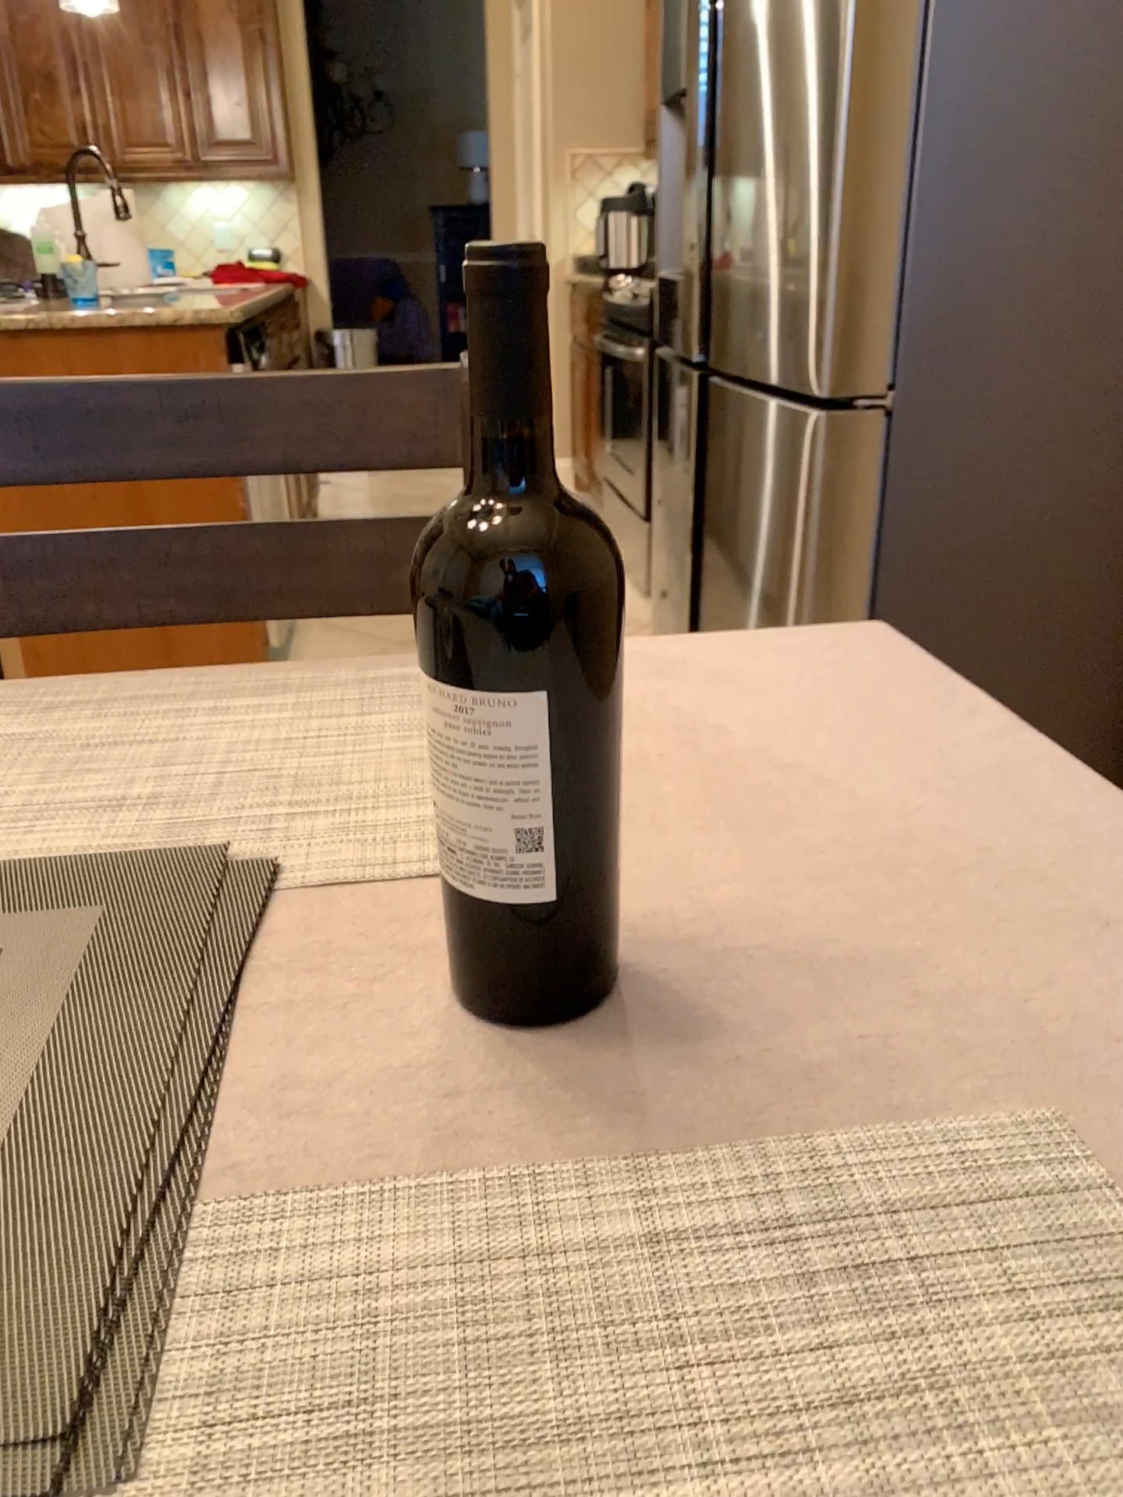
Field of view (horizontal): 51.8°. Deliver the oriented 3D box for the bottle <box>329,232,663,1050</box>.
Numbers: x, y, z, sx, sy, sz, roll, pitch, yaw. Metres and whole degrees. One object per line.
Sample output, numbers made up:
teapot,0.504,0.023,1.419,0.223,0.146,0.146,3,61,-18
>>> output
bottle,-0.017,-0.040,0.457,0.083,0.299,0.090,-1,23,0
